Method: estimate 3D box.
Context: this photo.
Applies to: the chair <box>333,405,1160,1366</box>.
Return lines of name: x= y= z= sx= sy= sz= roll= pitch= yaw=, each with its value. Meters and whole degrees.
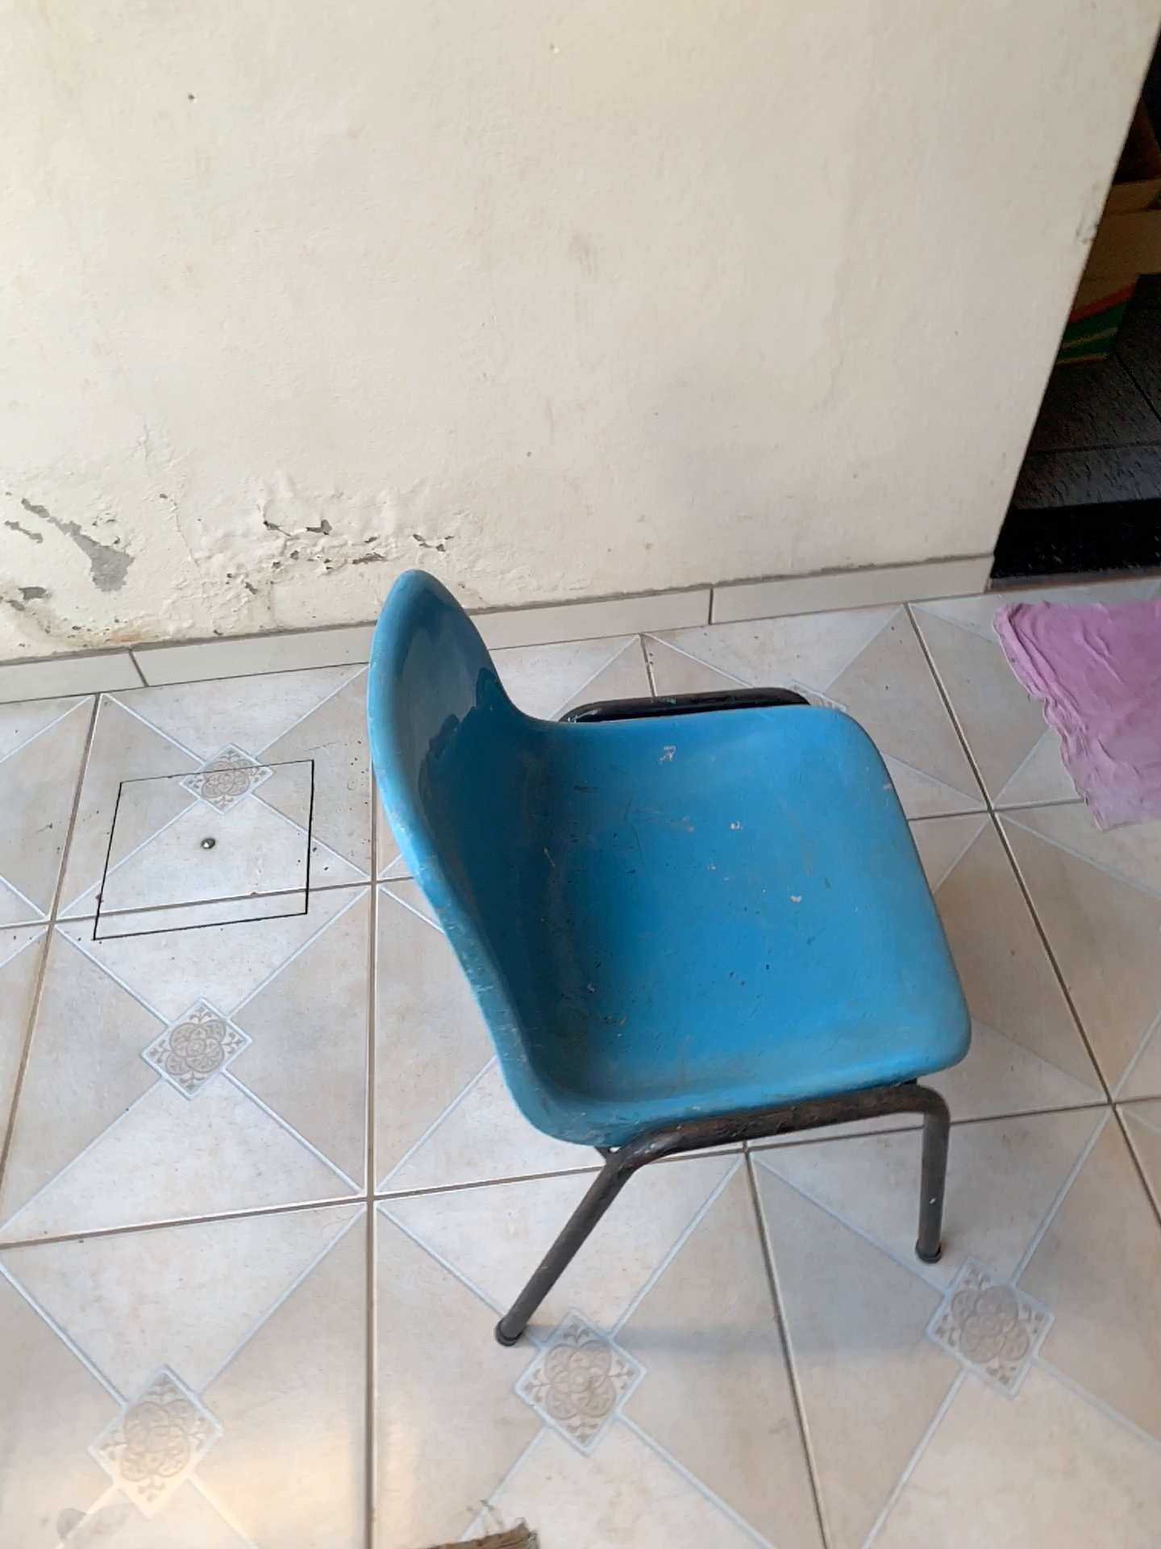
chair: x=0.106 y=0.139 z=1.101 sx=0.530 sy=0.687 sz=0.552 roll=-6 pitch=52 yaw=-3
